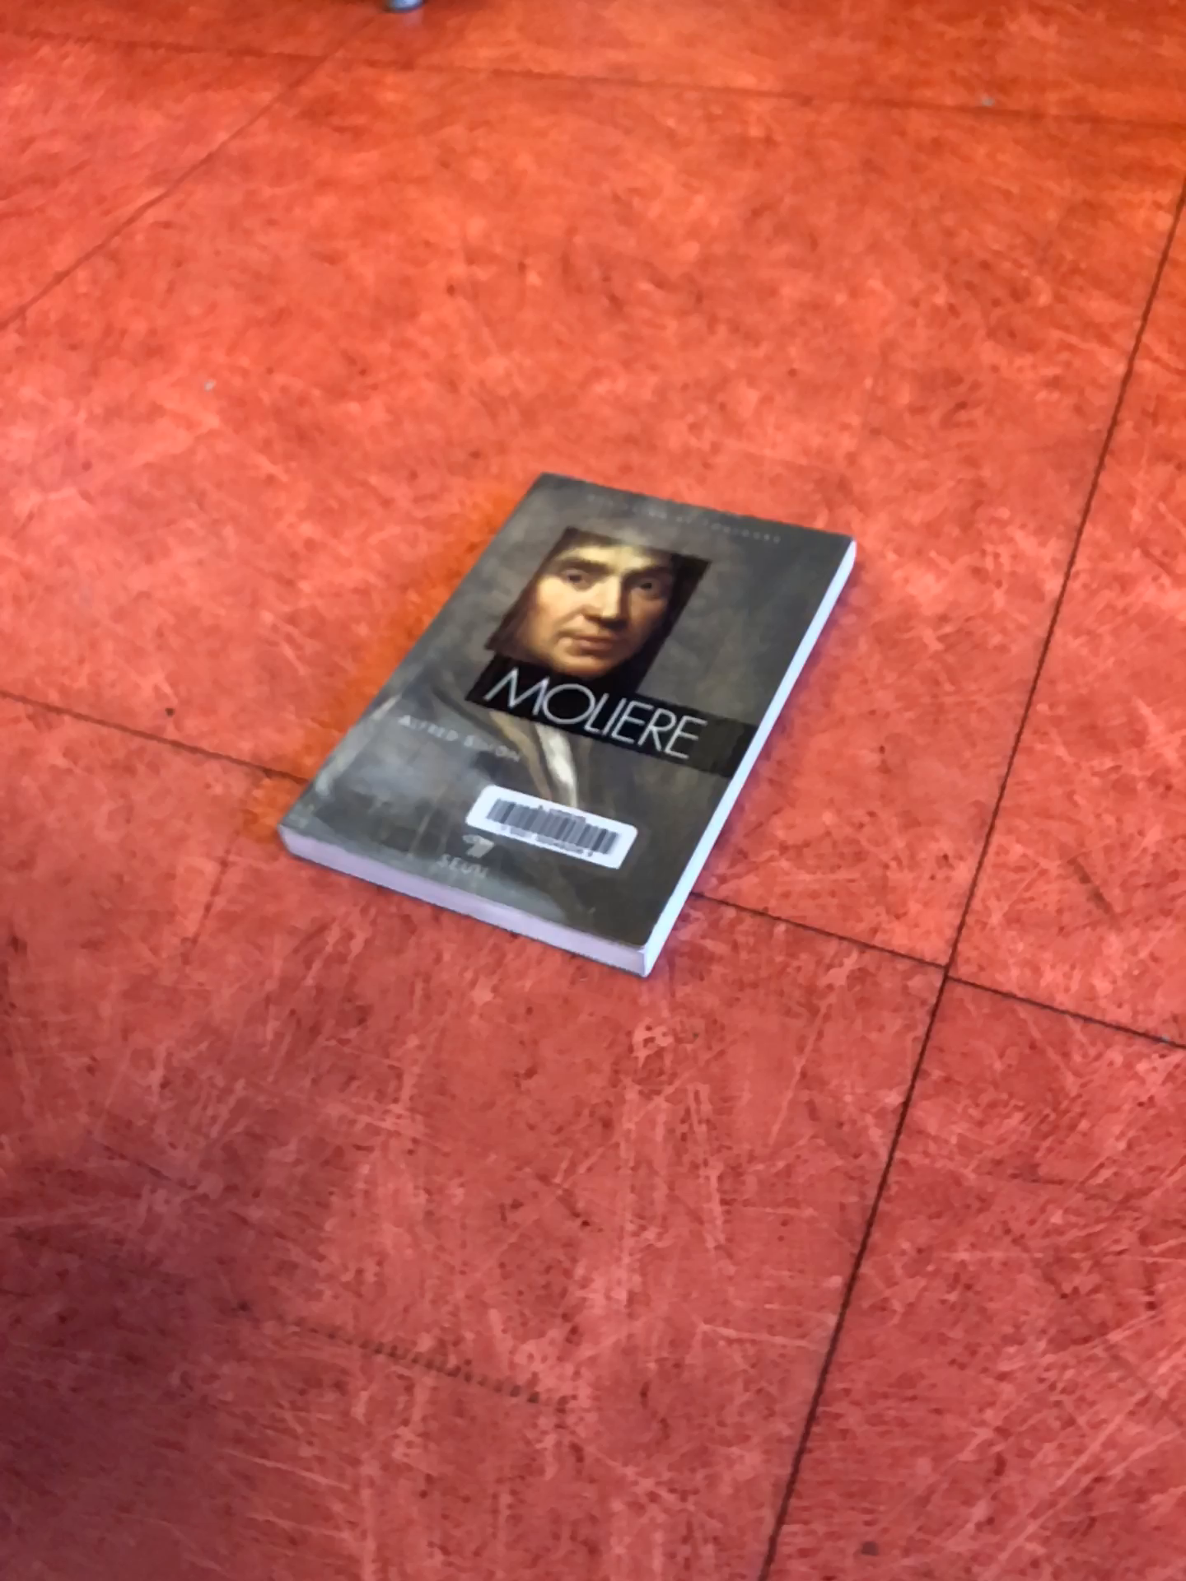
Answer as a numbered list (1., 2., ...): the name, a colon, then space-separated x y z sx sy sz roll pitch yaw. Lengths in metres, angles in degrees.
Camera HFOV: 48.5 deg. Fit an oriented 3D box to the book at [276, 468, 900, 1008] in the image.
1. book: 0.006 -0.031 0.424 0.134 0.015 0.184 17 55 20
